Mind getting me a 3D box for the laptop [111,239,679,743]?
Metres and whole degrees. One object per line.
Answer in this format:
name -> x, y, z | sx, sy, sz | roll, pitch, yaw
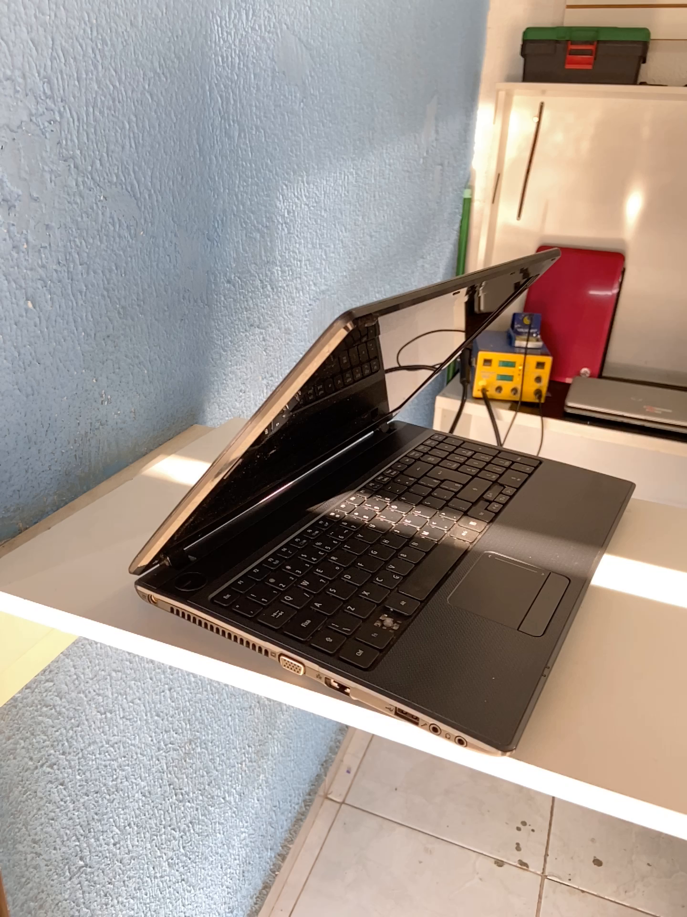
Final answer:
laptop -> 0.071, -0.038, 0.517 | 0.247, 0.191, 0.378 | 15, 25, 26
